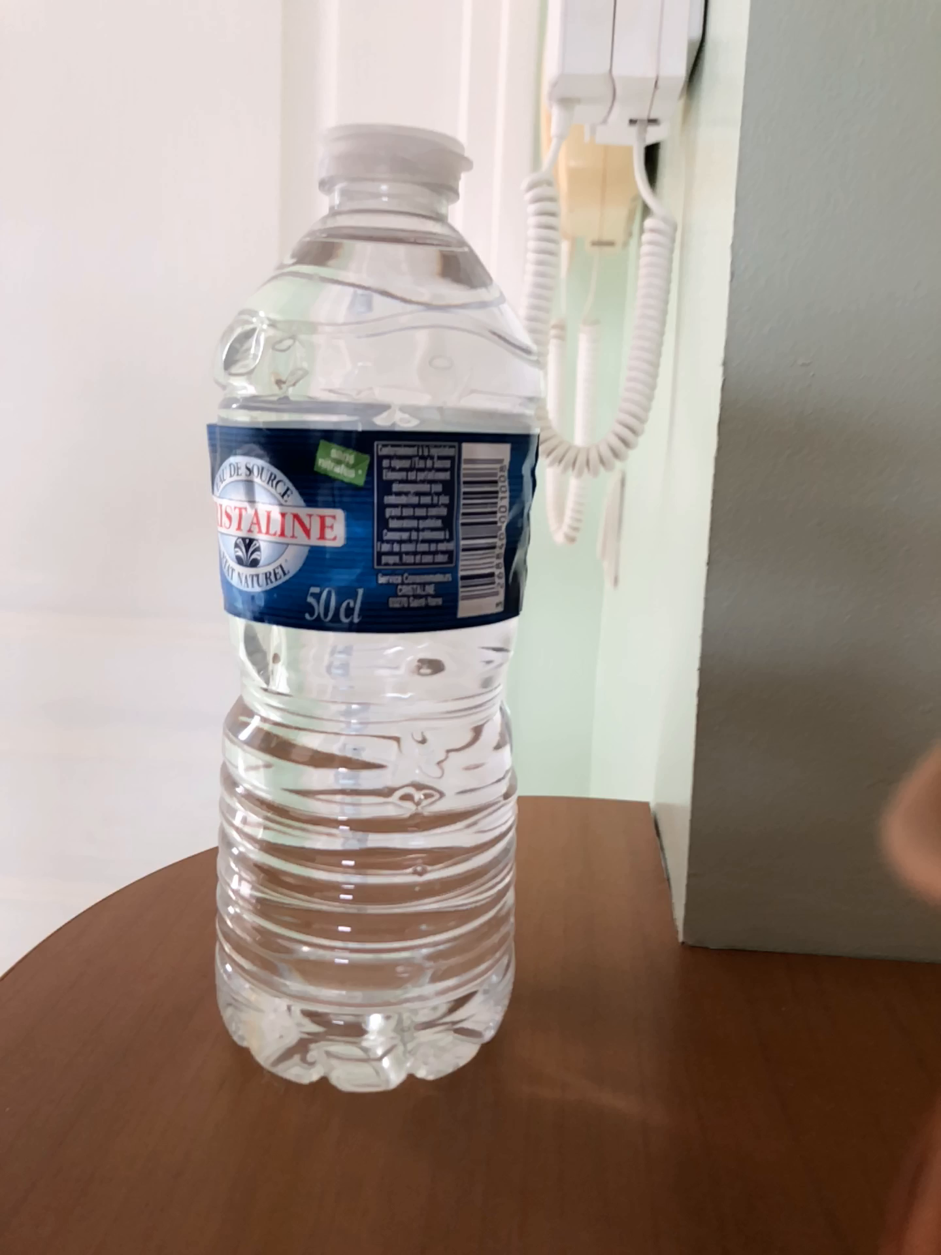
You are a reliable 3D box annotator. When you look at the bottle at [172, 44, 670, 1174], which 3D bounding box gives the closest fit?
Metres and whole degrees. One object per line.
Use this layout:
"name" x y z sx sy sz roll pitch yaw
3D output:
"bottle" -0.013 -0.004 0.223 0.070 0.190 0.070 2 9 0
